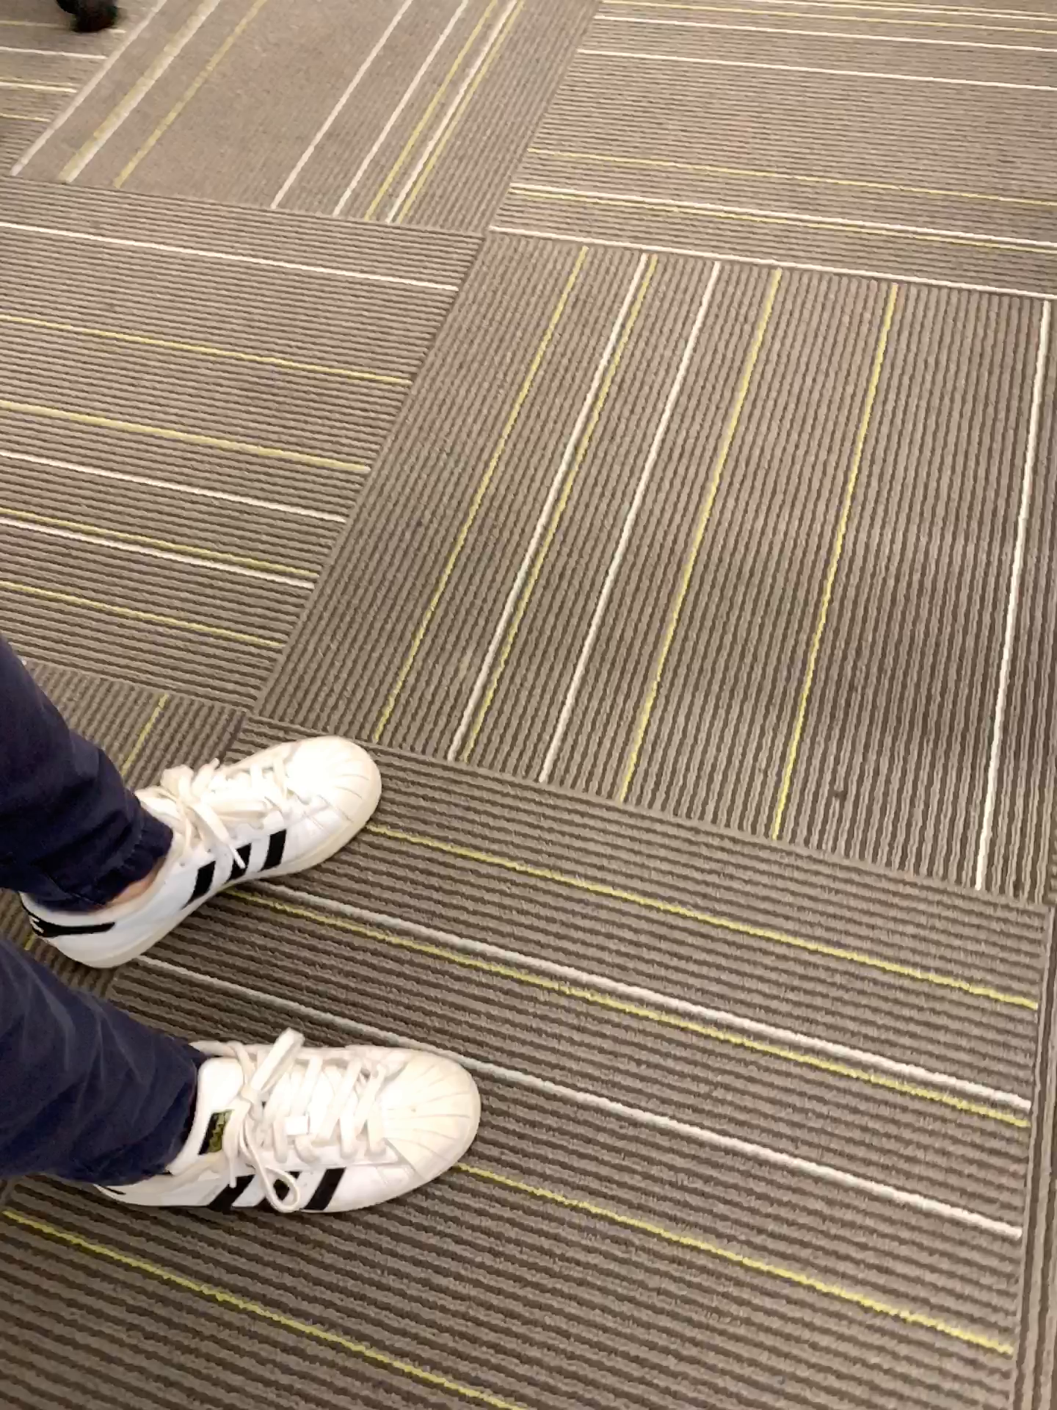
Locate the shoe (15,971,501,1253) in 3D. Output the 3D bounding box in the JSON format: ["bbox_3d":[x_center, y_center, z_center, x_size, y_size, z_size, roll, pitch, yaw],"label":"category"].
[{"bbox_3d":[-0.157,0.252,0.662,0.258,0.104,0.106,-10,58,0],"label":"shoe"}]

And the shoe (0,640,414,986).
[{"bbox_3d":[-0.231,0.076,0.769,0.262,0.104,0.108,-25,59,-9],"label":"shoe"}]
